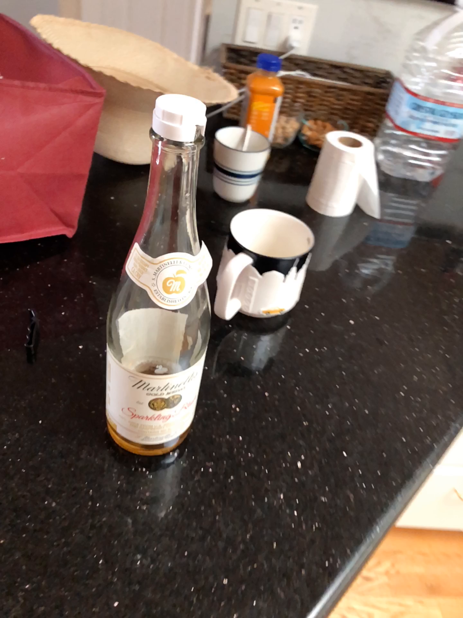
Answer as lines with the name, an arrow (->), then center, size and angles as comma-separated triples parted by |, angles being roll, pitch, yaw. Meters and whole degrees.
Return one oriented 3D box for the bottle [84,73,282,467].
bottle -> -0.056, -0.010, 0.389 | 0.094, 0.288, 0.098 | 7, 41, -6
